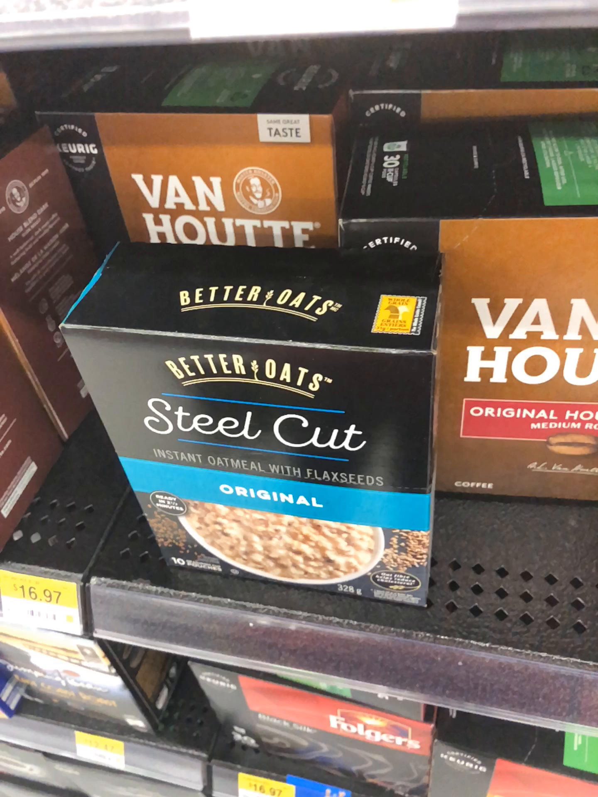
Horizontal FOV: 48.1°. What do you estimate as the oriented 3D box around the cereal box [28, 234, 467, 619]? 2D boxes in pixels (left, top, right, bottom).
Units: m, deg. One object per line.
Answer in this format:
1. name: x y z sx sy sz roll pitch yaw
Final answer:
1. cereal box: -0.009 0.021 0.307 0.150 0.179 0.060 5 48 13
